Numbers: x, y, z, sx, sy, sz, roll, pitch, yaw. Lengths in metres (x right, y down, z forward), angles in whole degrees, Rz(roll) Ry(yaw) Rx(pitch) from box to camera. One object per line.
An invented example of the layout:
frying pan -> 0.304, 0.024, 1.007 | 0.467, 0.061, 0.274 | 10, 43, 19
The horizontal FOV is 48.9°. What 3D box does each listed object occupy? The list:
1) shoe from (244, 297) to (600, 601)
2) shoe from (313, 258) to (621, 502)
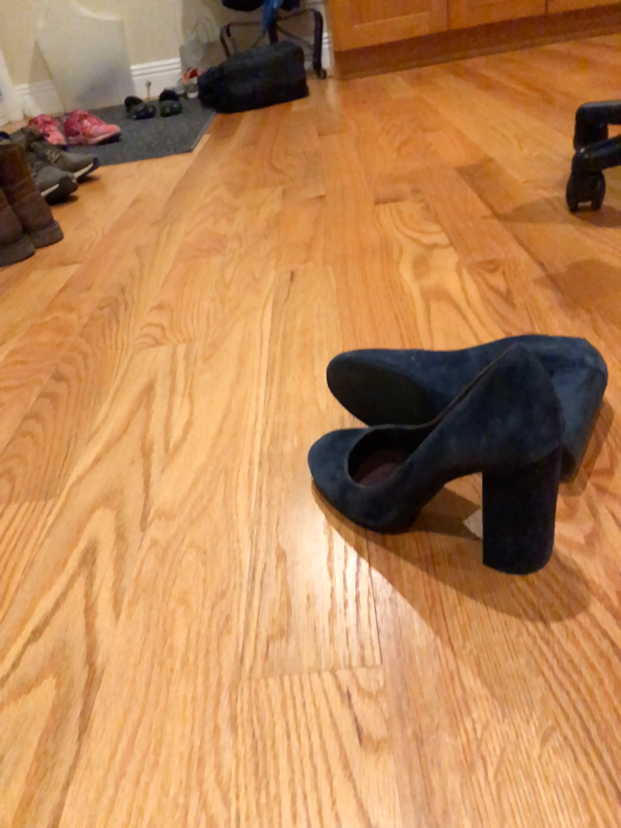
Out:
shoe -> 0.071, 0.012, 0.449 | 0.195, 0.128, 0.090 | 15, 40, 34
shoe -> 0.132, -0.039, 0.531 | 0.205, 0.089, 0.140 | 15, 47, 35
